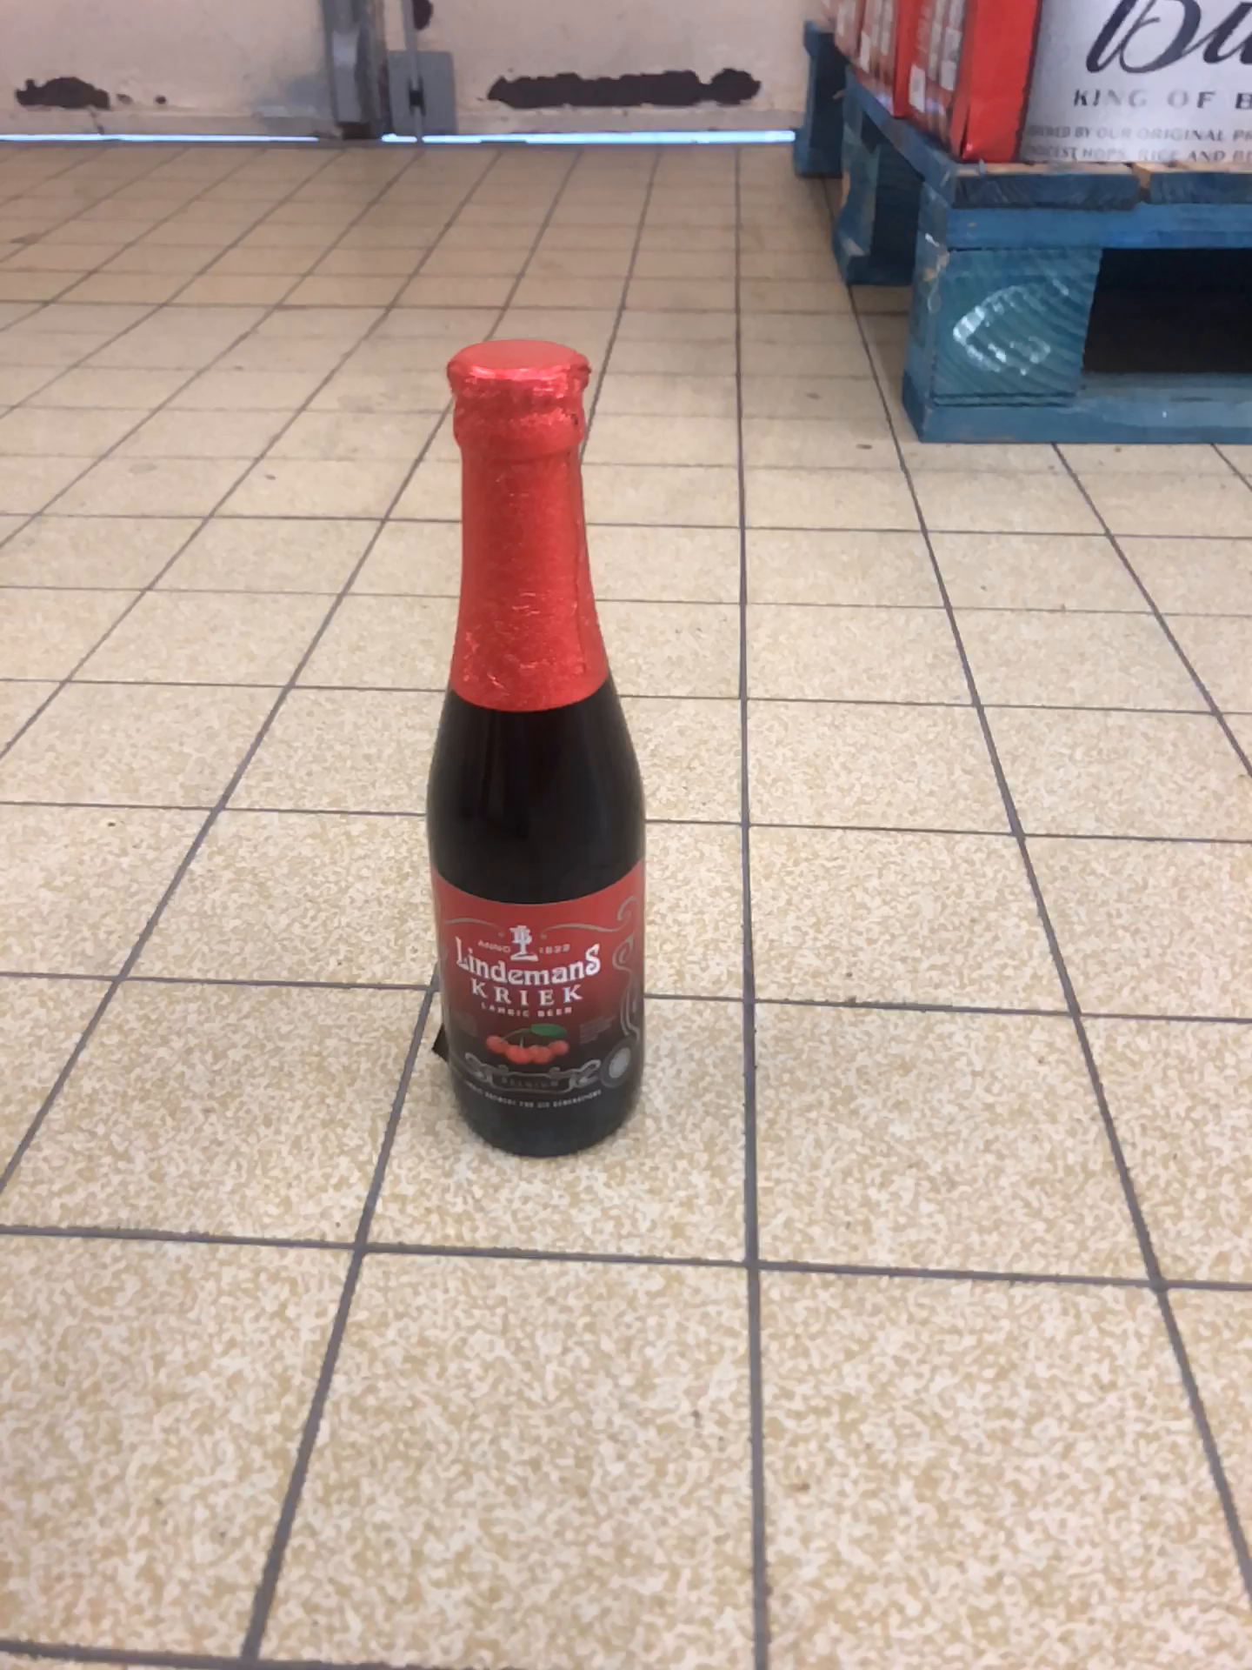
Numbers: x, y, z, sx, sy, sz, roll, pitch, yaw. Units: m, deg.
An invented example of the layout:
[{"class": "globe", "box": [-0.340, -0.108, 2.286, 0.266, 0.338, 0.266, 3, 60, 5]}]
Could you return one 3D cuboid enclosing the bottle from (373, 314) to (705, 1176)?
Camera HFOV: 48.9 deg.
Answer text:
[{"class": "bottle", "box": [-0.016, -0.013, 0.328, 0.060, 0.199, 0.060, 0, 33, 0]}]
